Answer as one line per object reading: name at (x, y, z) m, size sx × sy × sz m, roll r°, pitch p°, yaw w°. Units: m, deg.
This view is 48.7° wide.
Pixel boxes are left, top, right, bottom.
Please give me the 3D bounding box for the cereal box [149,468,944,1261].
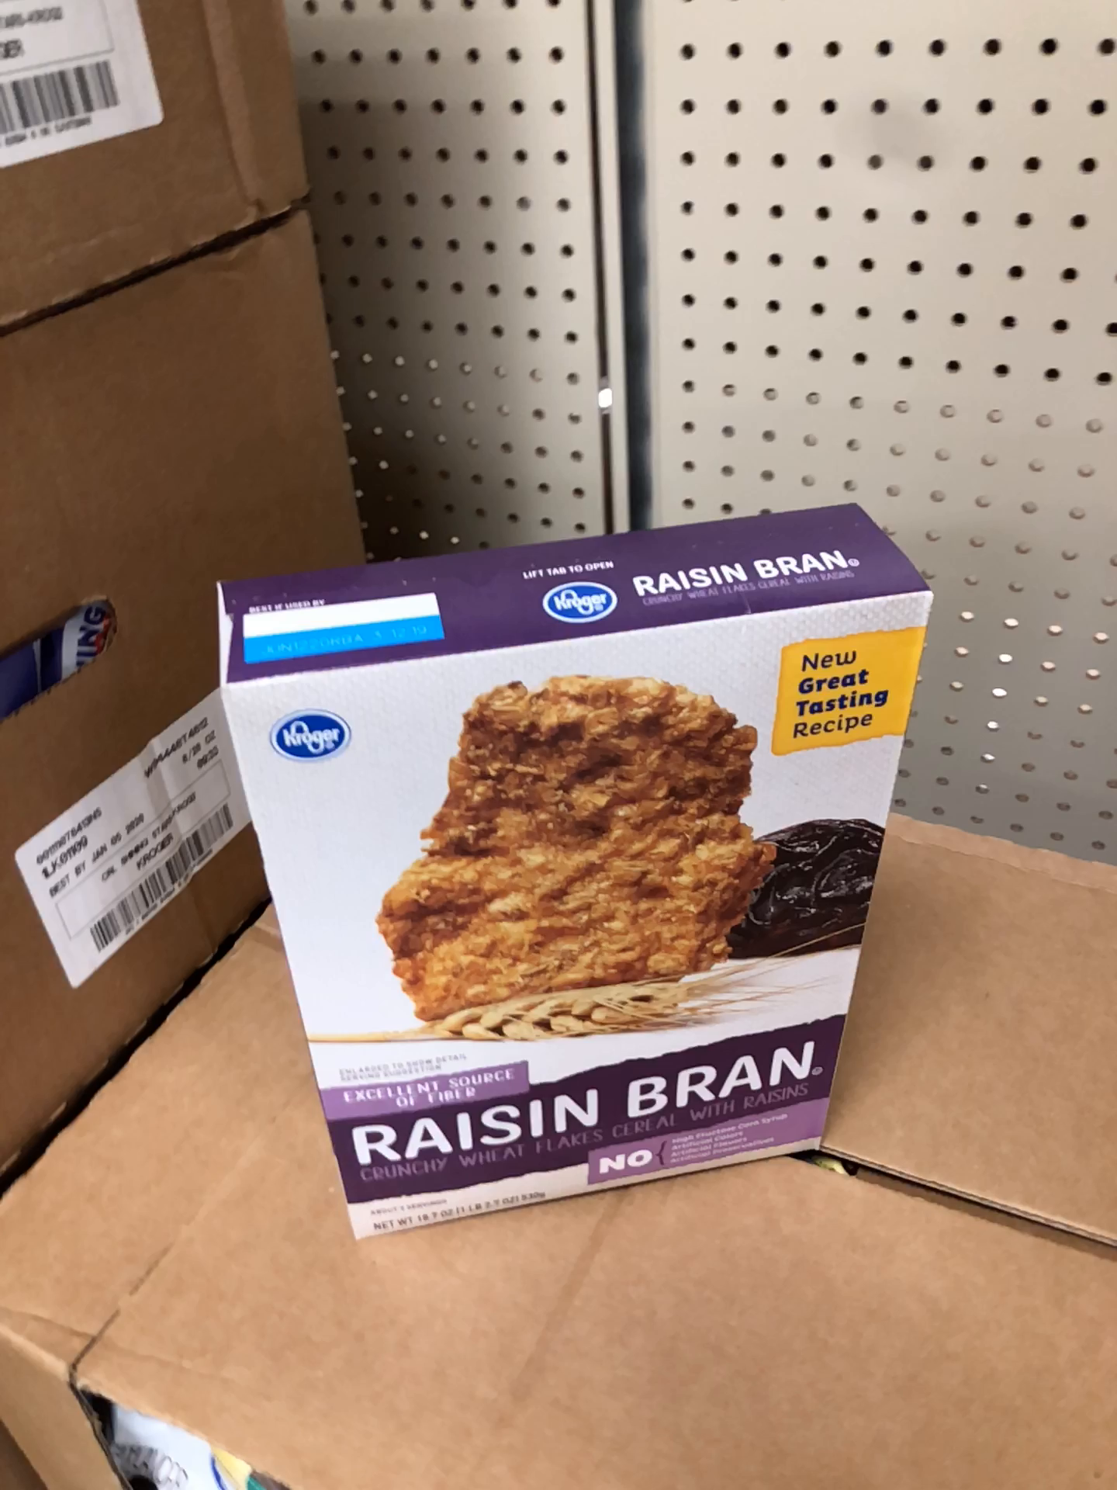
cereal box at (0.003, 0.060, 0.401) m, size 0.190 × 0.279 × 0.050 m, roll -9°, pitch 42°, yaw -5°
